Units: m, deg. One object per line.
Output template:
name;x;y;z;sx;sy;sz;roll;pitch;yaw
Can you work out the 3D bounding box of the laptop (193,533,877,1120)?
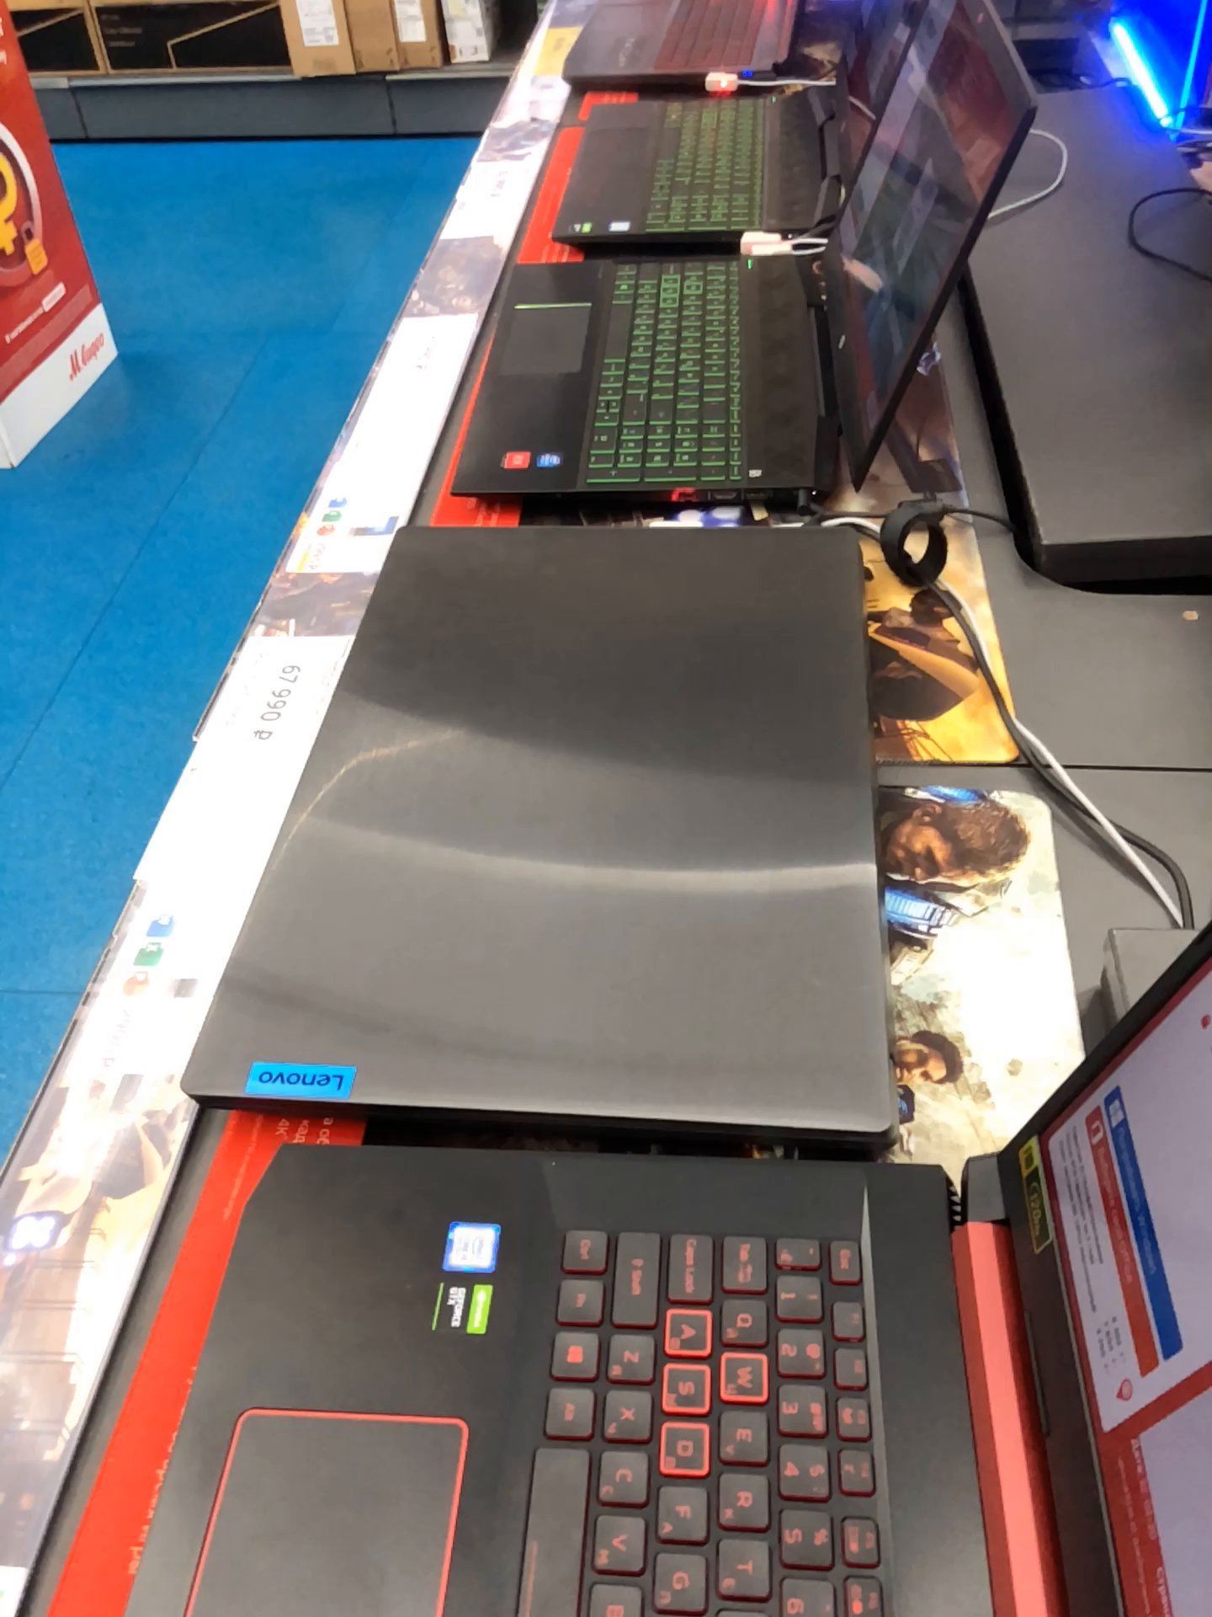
laptop;-0.007;-0.025;0.651;0.268;0.002;0.391;2;45;7
